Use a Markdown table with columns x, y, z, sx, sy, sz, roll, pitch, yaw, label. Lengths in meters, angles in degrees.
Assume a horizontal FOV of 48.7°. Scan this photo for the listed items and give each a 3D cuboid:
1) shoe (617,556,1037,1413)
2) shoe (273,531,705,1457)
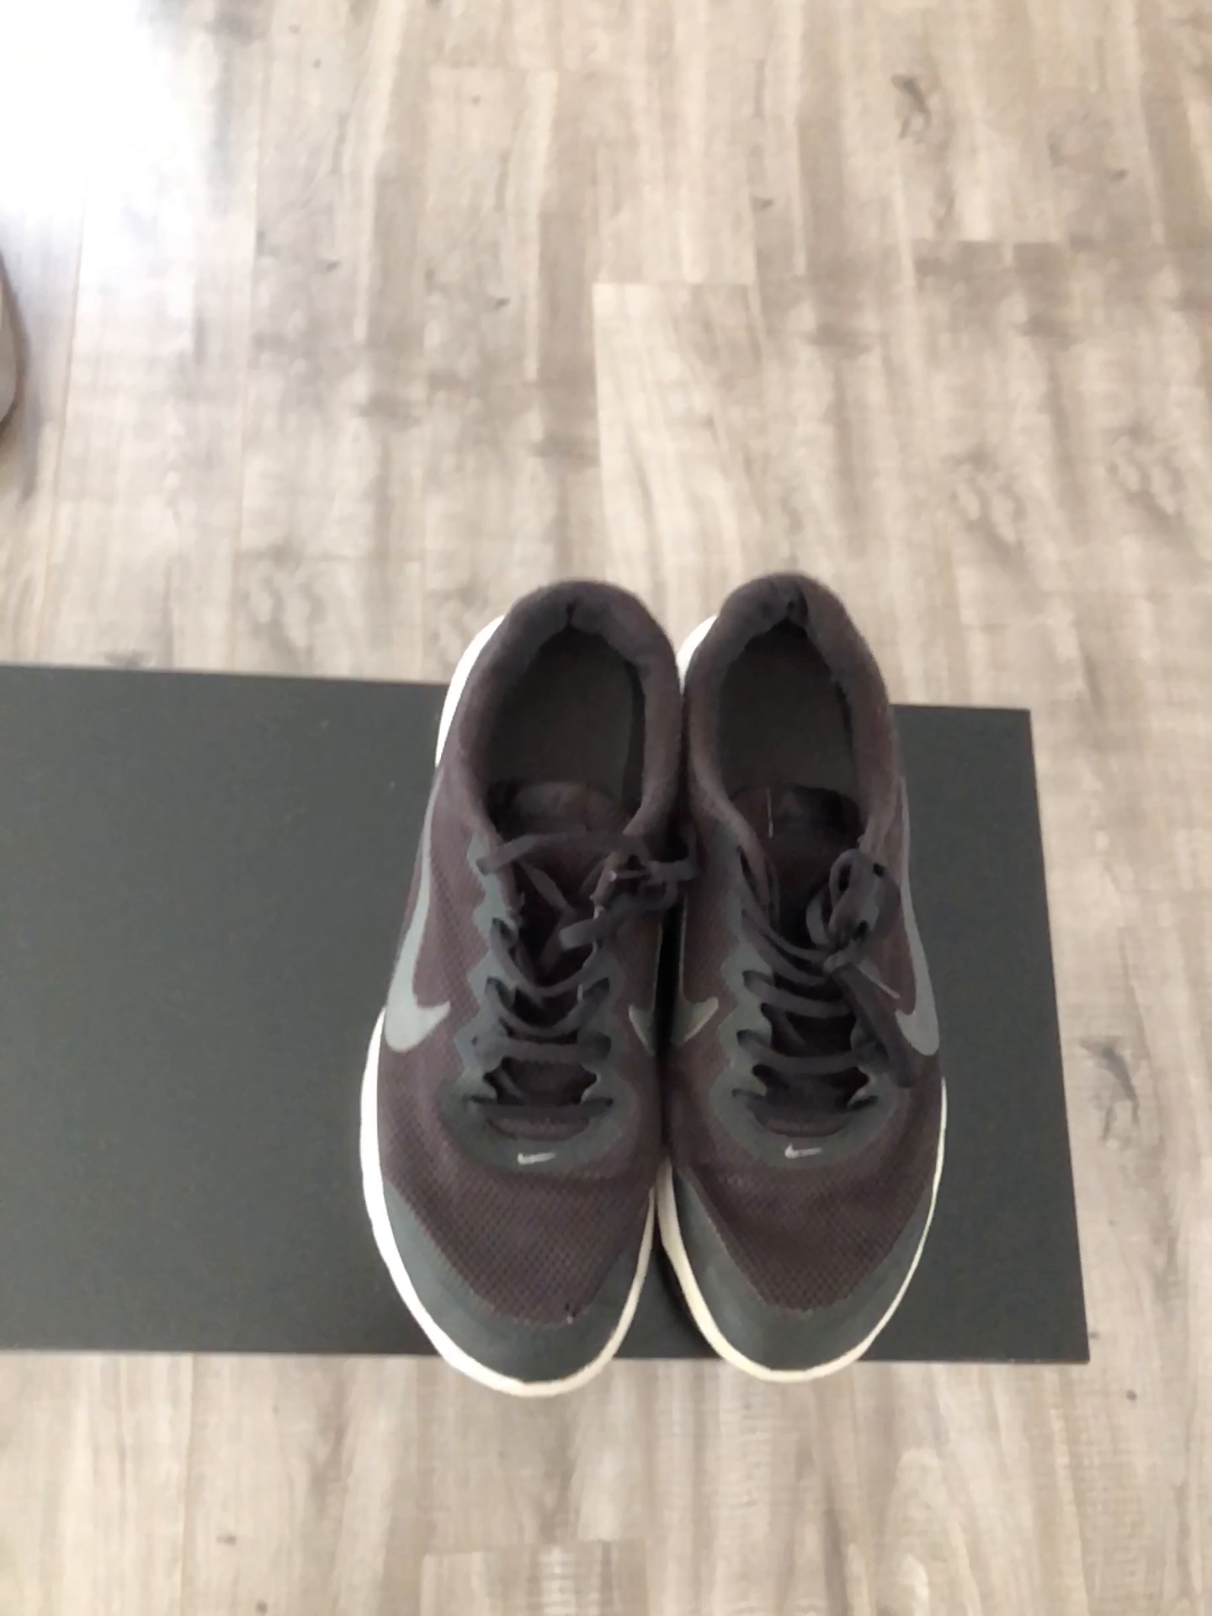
| x | y | z | sx | sy | sz | roll | pitch | yaw | label |
| --- | --- | --- | --- | --- | --- | --- | --- | --- | --- |
| 0.067 | 0.061 | 0.492 | 0.110 | 0.110 | 0.280 | 0 | 73 | -5 | shoe |
| -0.034 | 0.059 | 0.464 | 0.110 | 0.100 | 0.280 | 5 | 74 | -4 | shoe |
